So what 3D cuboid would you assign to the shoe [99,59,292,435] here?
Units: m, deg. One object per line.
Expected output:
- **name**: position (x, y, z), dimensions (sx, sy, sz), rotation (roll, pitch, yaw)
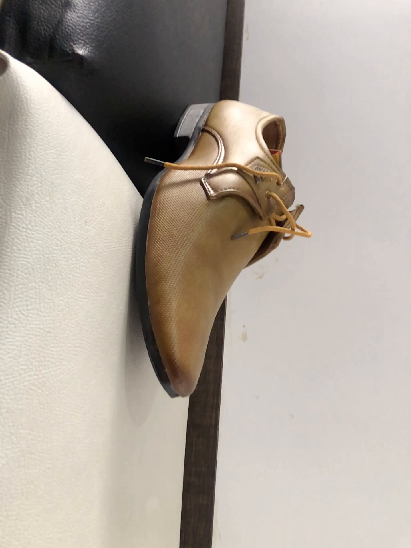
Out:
- **shoe**: position (0.016, -0.039, 0.357), dimensions (0.100, 0.090, 0.290), rotation (72, 22, -51)
